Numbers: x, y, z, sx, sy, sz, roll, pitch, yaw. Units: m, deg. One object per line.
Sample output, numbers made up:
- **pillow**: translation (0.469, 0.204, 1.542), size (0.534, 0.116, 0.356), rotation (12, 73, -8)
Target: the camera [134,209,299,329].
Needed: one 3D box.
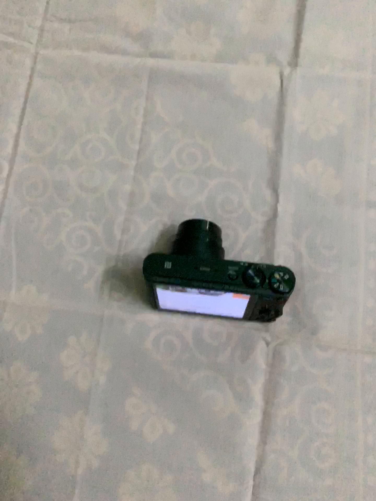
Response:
- **camera**: translation (0.020, 0.015, 0.277), size (0.100, 0.060, 0.058), rotation (6, 69, 4)
